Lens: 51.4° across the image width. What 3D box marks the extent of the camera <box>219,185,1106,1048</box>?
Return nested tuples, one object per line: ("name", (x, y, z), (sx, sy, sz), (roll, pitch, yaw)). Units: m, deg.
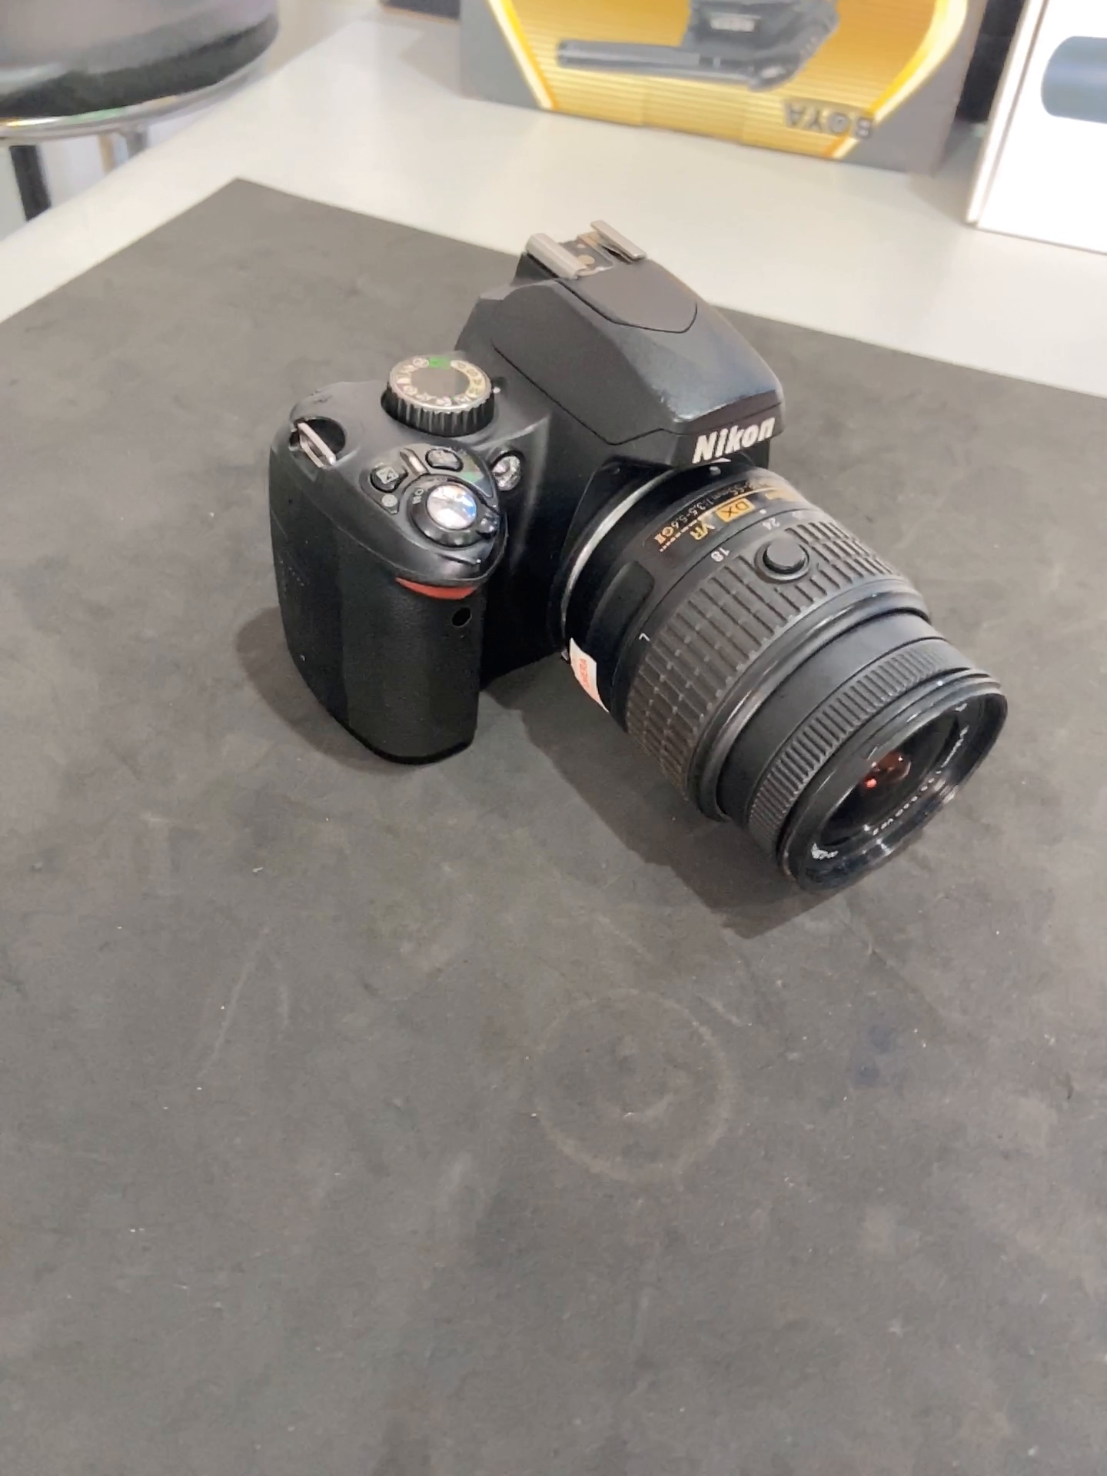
("camera", (0.022, -0.039, 0.256), (0.130, 0.088, 0.140), (-26, 57, -27))
